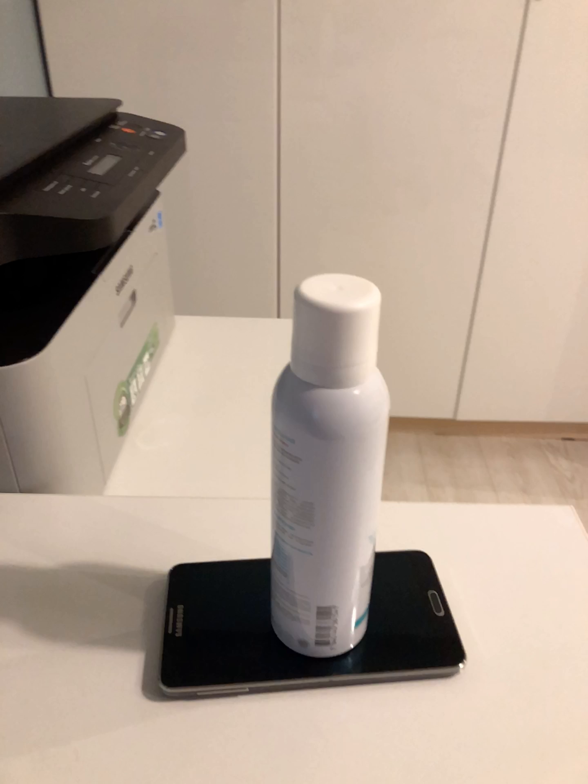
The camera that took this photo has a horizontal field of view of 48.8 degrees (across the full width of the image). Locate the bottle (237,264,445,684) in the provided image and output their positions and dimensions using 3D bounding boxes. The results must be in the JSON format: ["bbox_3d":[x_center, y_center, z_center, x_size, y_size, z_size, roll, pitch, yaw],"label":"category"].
[{"bbox_3d":[0.014,0.041,0.284,0.059,0.175,0.054,1,31,0],"label":"bottle"}]
